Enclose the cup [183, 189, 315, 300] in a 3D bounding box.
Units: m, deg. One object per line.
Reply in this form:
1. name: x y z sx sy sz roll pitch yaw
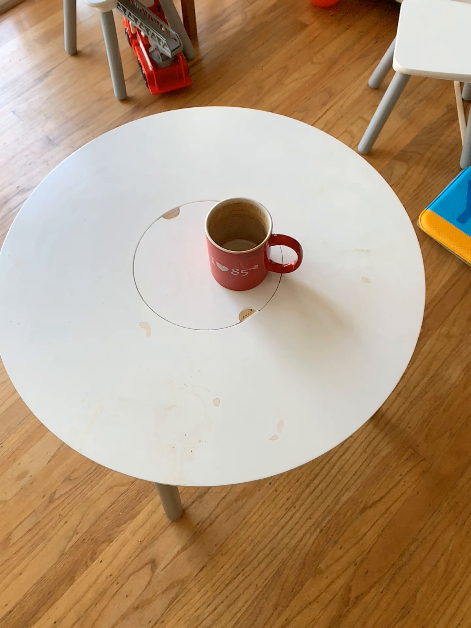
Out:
1. cup: 0.020 -0.089 0.636 0.150 0.100 0.090 7 66 6
